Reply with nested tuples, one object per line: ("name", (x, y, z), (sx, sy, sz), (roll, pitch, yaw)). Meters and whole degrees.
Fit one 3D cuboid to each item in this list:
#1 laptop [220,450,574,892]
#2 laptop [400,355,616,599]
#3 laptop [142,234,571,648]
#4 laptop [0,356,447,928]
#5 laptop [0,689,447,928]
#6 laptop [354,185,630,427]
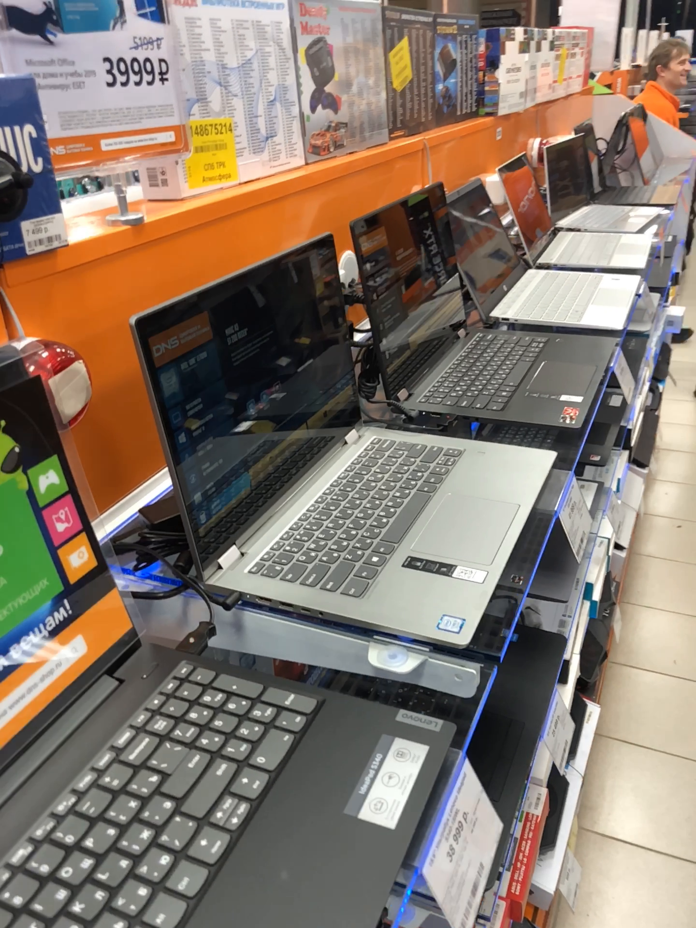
("laptop", (0.078, 0.181, 0.833), (0.263, 0.207, 0.369), (9, 30, 21))
("laptop", (0.248, 0.000, 1.164), (0.237, 0.213, 0.310), (9, 31, 25))
("laptop", (0.034, -0.054, 0.659), (0.238, 0.212, 0.317), (9, 30, 23))
("laptop", (-0.127, 0.109, 0.328), (0.278, 0.212, 0.306), (7, 27, 19))
("laptop", (-0.114, 0.387, 0.461), (0.238, 0.235, 0.380), (9, 30, 23))
("laptop", (0.189, -0.216, 0.957), (0.247, 0.209, 0.291), (9, 30, 23))
